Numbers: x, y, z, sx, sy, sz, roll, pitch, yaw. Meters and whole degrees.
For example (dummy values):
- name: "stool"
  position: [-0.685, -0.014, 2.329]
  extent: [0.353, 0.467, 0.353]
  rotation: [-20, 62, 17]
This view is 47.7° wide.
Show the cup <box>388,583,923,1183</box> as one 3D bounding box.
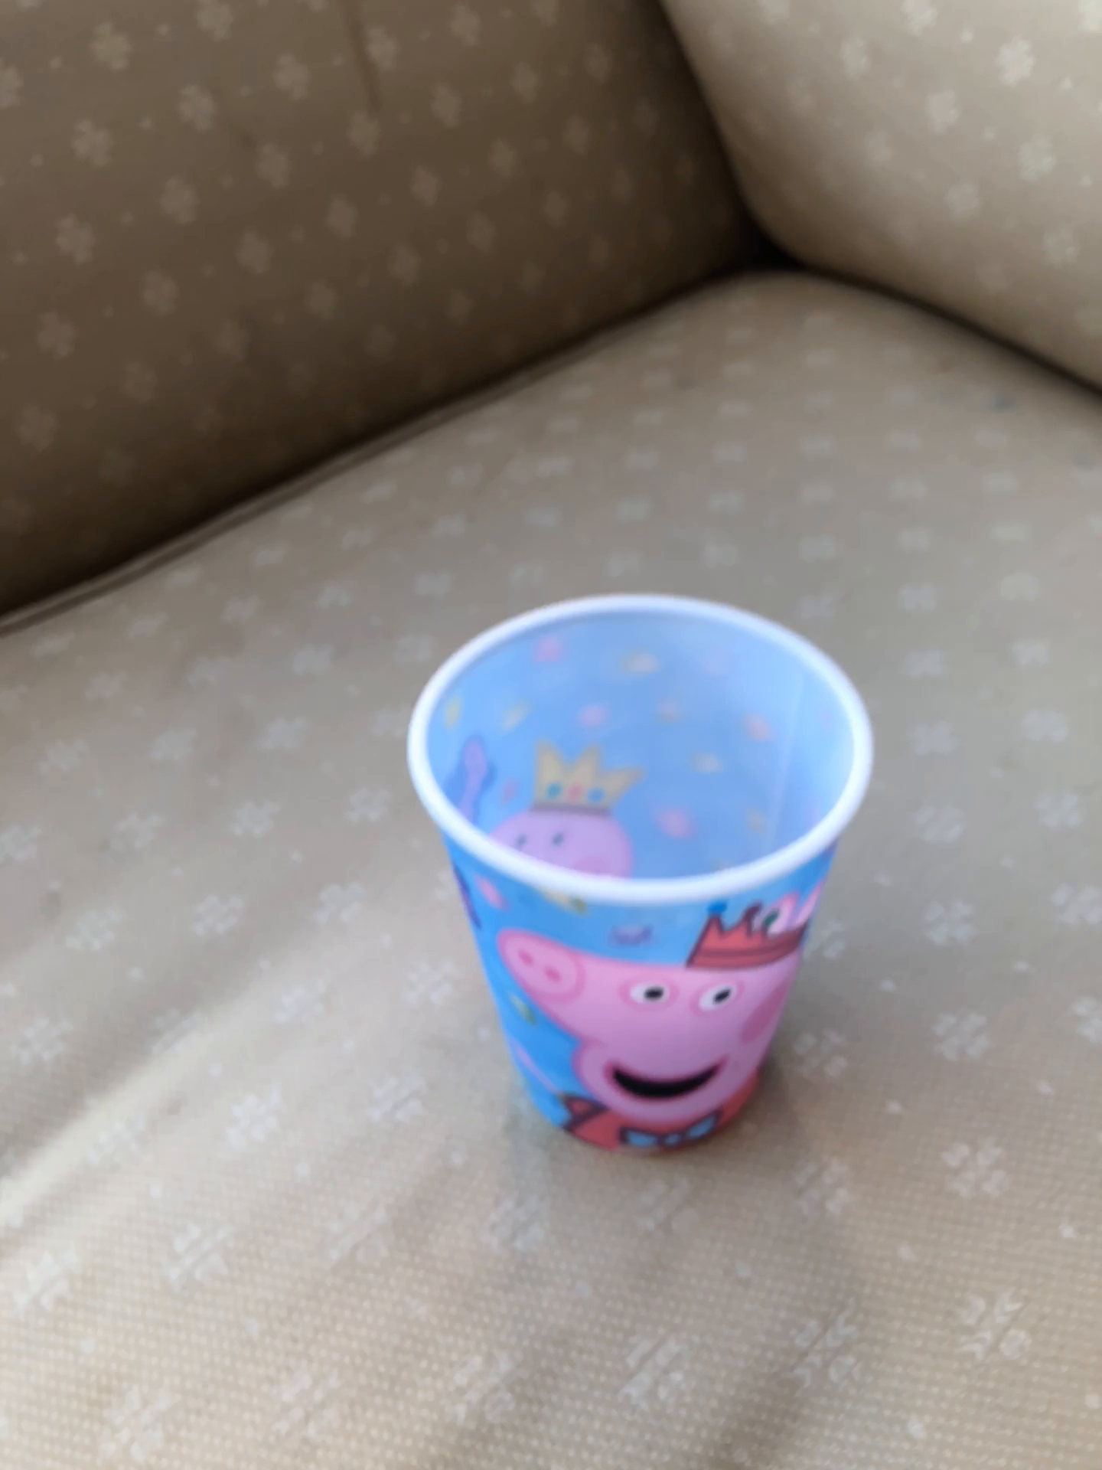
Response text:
- name: "cup"
  position: [0.020, 0.035, 0.279]
  extent: [0.091, 0.100, 0.087]
  rotation: [-2, 45, 2]
